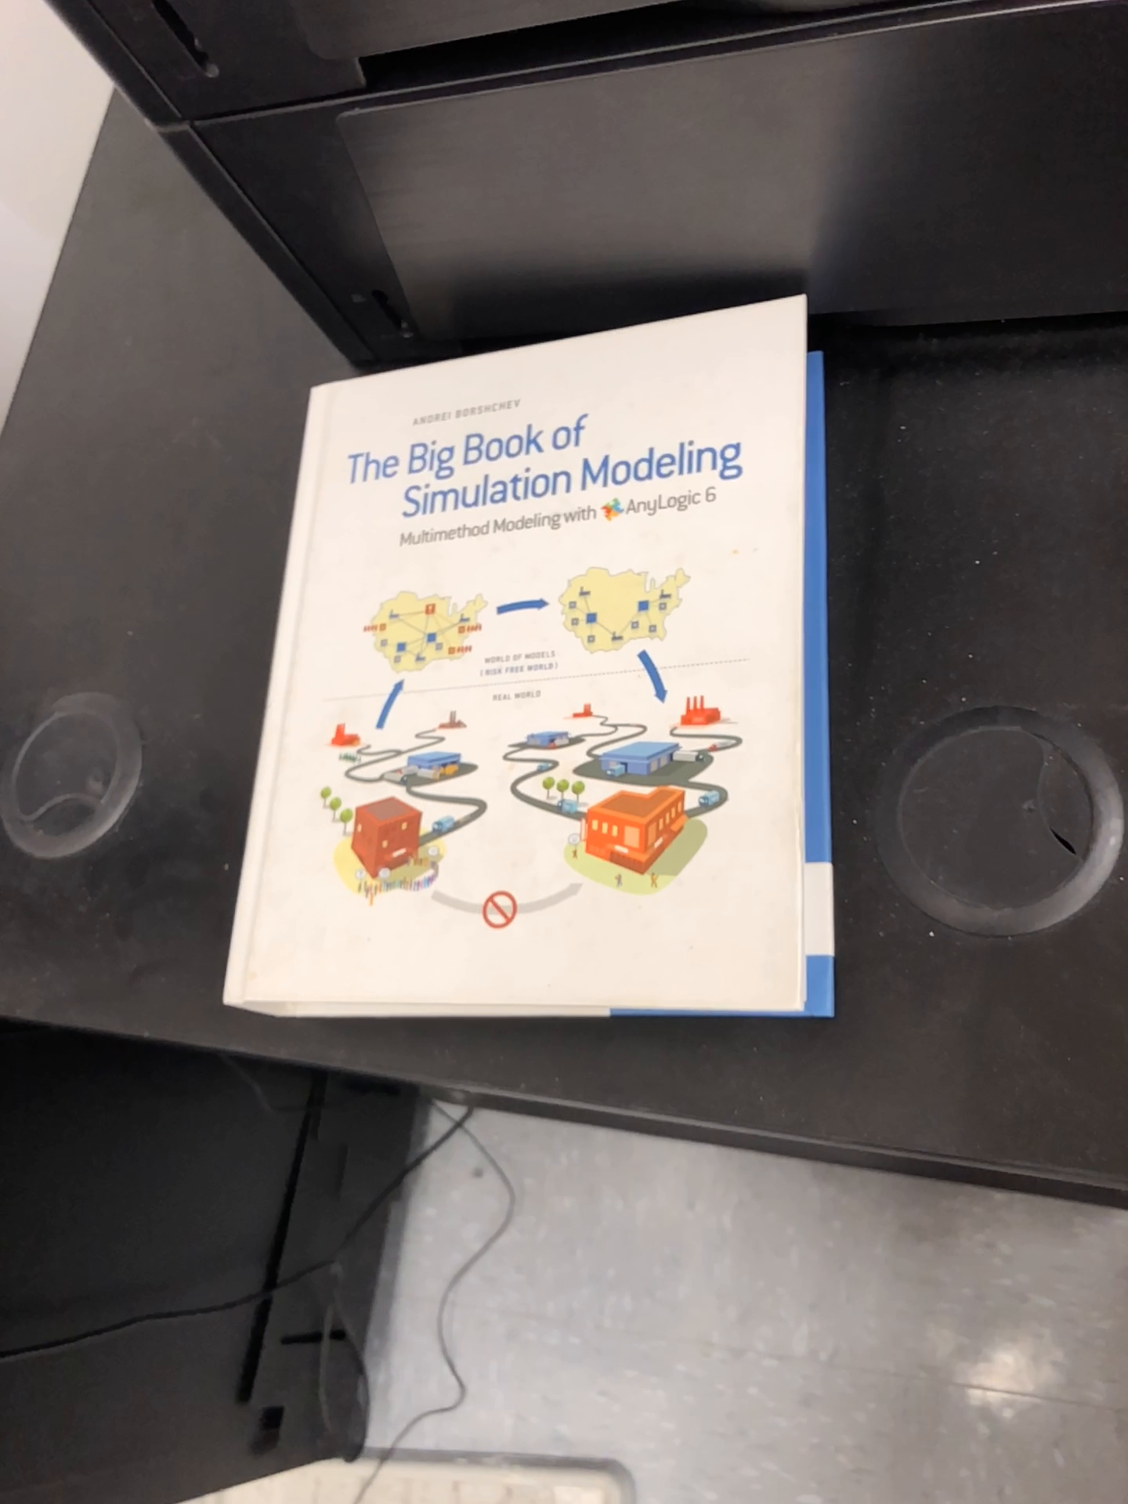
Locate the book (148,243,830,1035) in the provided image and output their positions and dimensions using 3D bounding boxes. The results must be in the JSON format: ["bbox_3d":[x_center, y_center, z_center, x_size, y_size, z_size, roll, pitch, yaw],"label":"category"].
[{"bbox_3d":[-0.020,-0.035,0.430,0.210,0.050,0.250,-4,69,21],"label":"book"}]
